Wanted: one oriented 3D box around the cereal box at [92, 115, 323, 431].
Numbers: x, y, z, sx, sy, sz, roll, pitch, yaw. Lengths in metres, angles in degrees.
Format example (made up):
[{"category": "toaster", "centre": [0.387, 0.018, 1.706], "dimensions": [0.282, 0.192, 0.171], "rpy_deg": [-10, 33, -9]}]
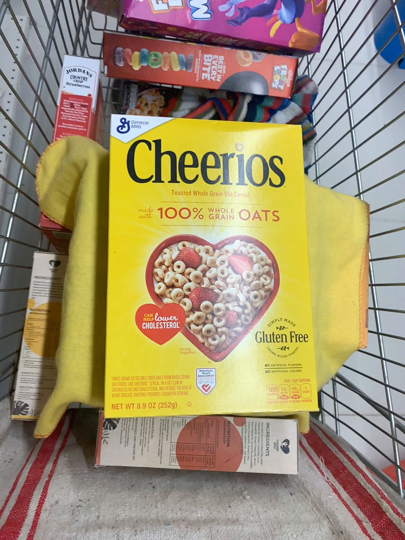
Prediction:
[{"category": "cereal box", "centre": [0.001, -0.001, 0.392], "dimensions": [0.190, 0.060, 0.270], "rpy_deg": [0, 80, -7]}]
